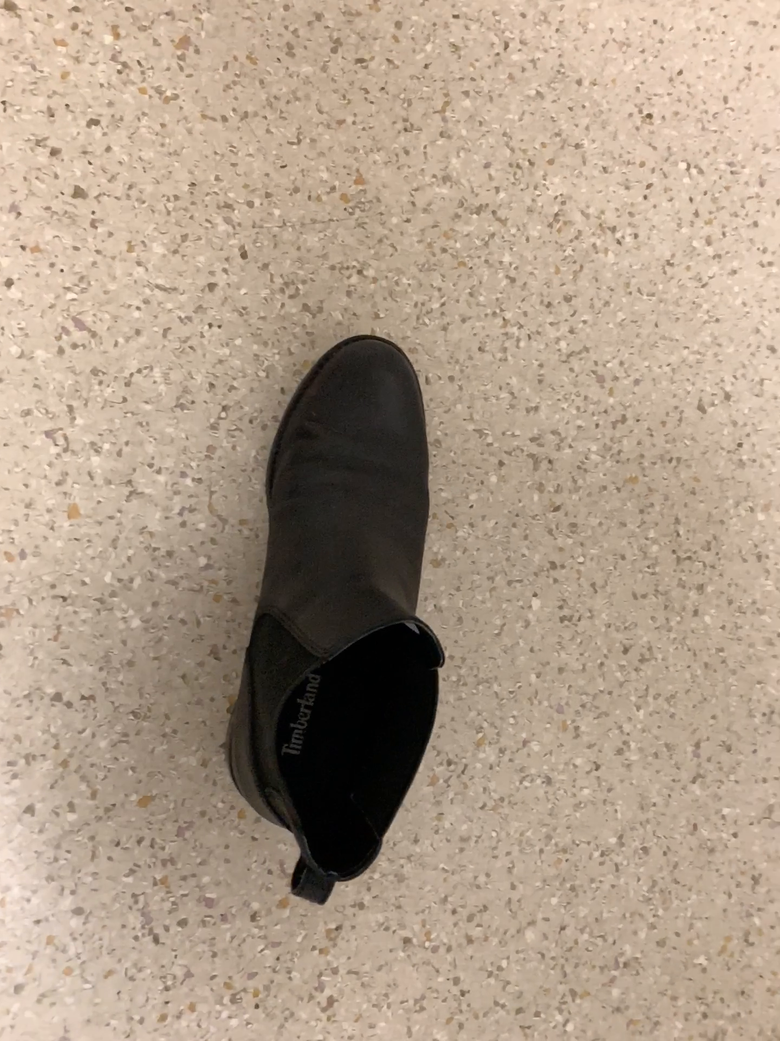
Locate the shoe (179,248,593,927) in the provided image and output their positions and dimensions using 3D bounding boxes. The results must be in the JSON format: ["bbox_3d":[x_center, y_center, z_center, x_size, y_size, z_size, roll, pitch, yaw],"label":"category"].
[{"bbox_3d":[-0.013,0.031,0.408,0.107,0.164,0.262,16,81,-17],"label":"shoe"}]
